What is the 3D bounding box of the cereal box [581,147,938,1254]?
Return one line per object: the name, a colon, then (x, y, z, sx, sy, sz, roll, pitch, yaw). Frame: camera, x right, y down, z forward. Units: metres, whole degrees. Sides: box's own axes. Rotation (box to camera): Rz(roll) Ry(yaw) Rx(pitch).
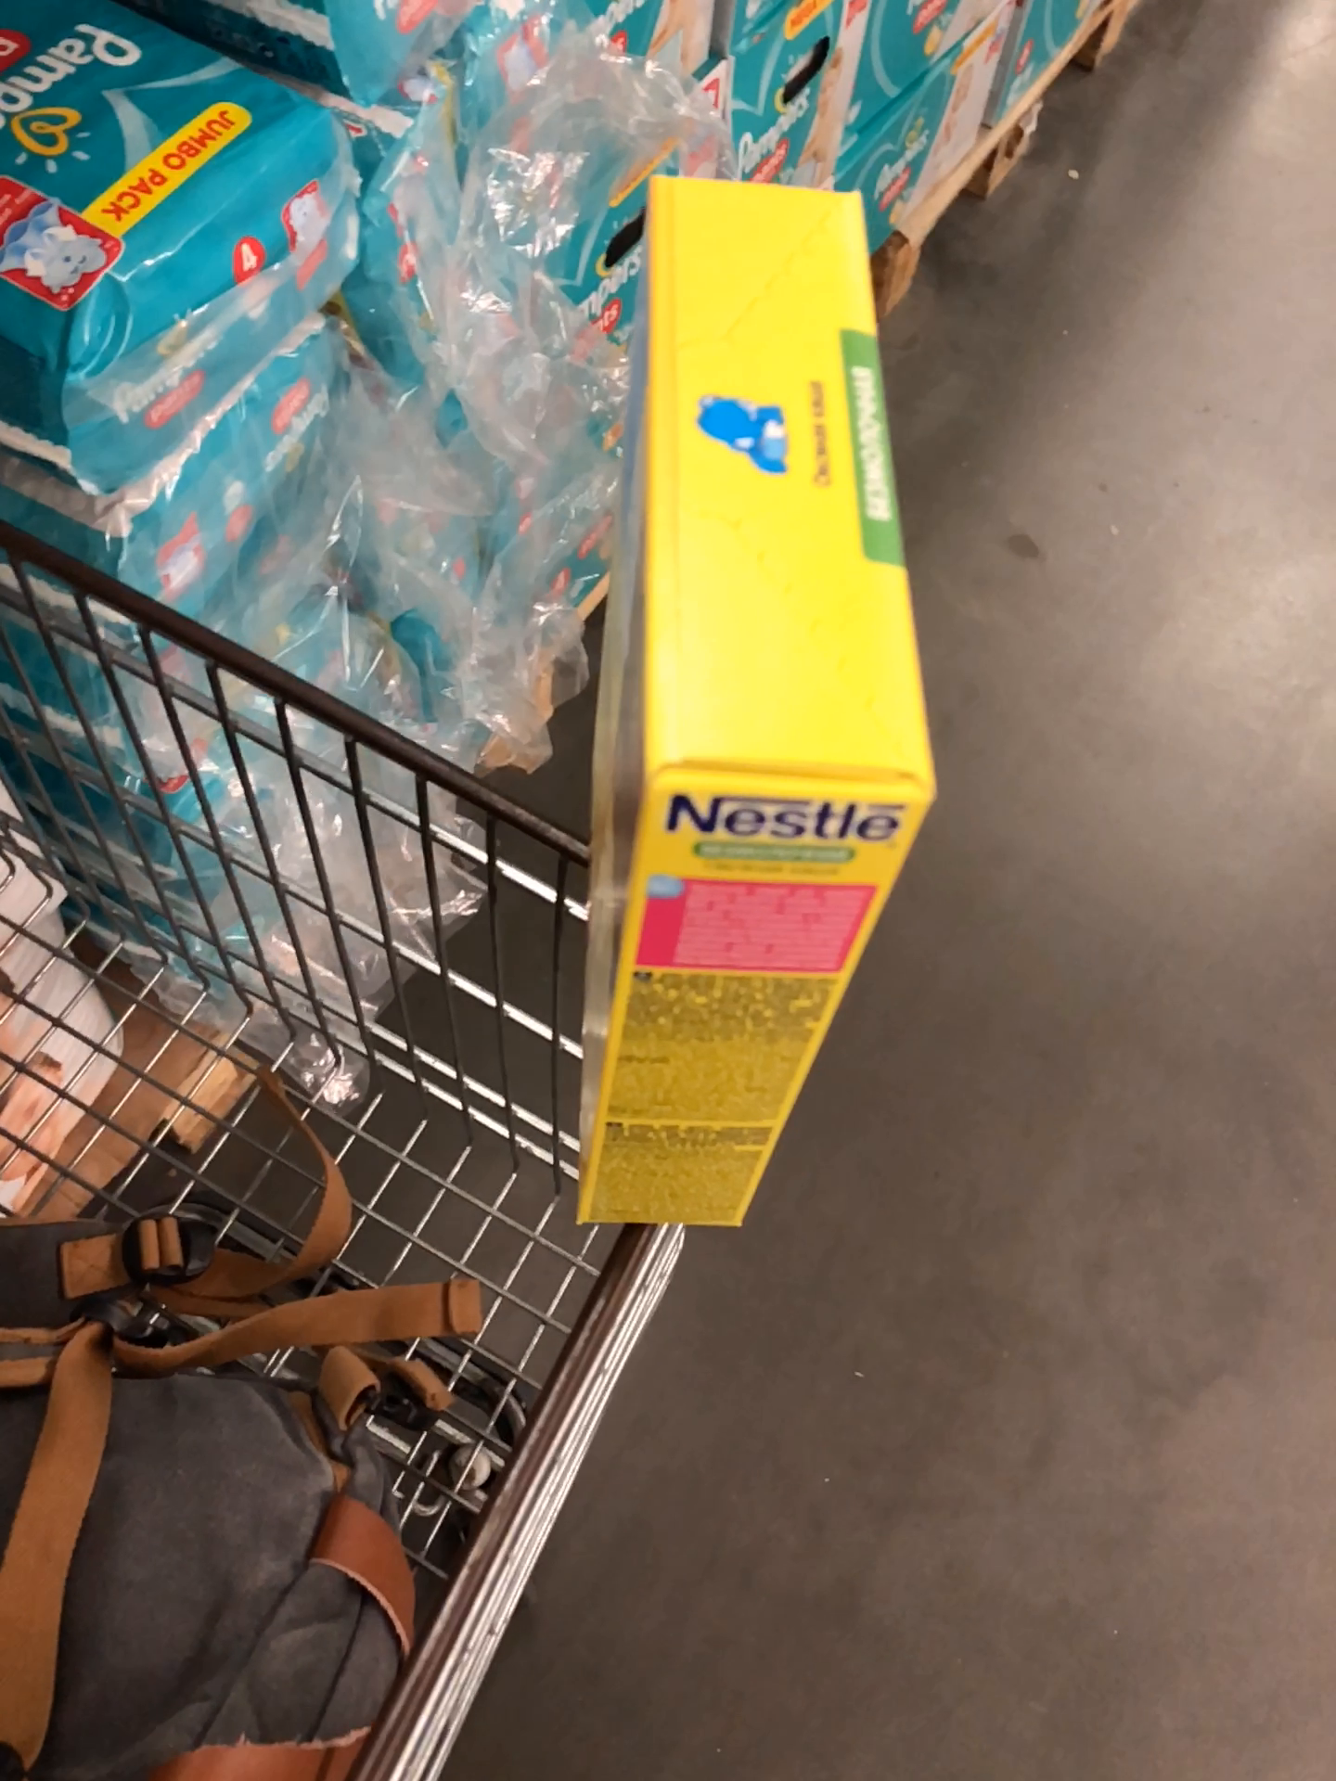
cereal box: (0.006, -0.025, 0.324, 0.040, 0.199, 0.151, 2, 58, -5)
